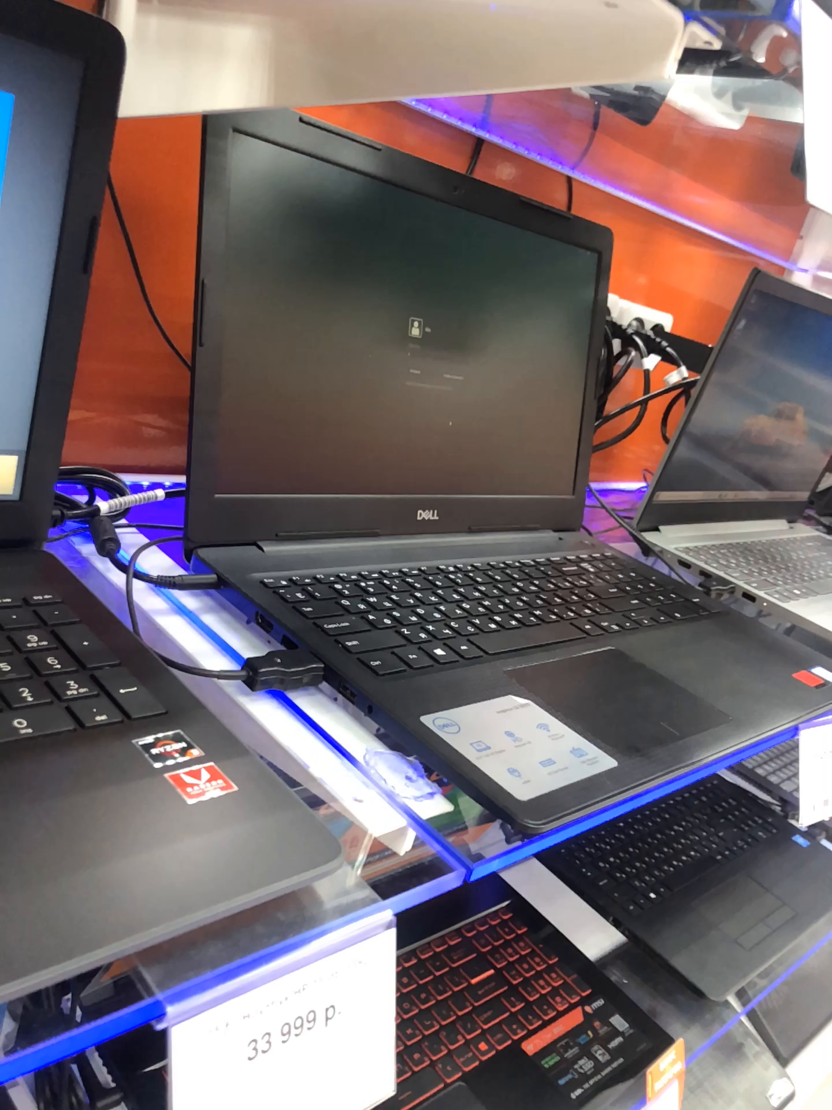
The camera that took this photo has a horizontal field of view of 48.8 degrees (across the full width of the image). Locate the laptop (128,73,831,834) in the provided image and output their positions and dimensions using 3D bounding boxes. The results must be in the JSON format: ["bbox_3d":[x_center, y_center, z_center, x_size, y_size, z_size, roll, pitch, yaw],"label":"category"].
[{"bbox_3d":[0.098,-0.079,0.535,0.374,0.233,0.316,-3,26,-47],"label":"laptop"}]
